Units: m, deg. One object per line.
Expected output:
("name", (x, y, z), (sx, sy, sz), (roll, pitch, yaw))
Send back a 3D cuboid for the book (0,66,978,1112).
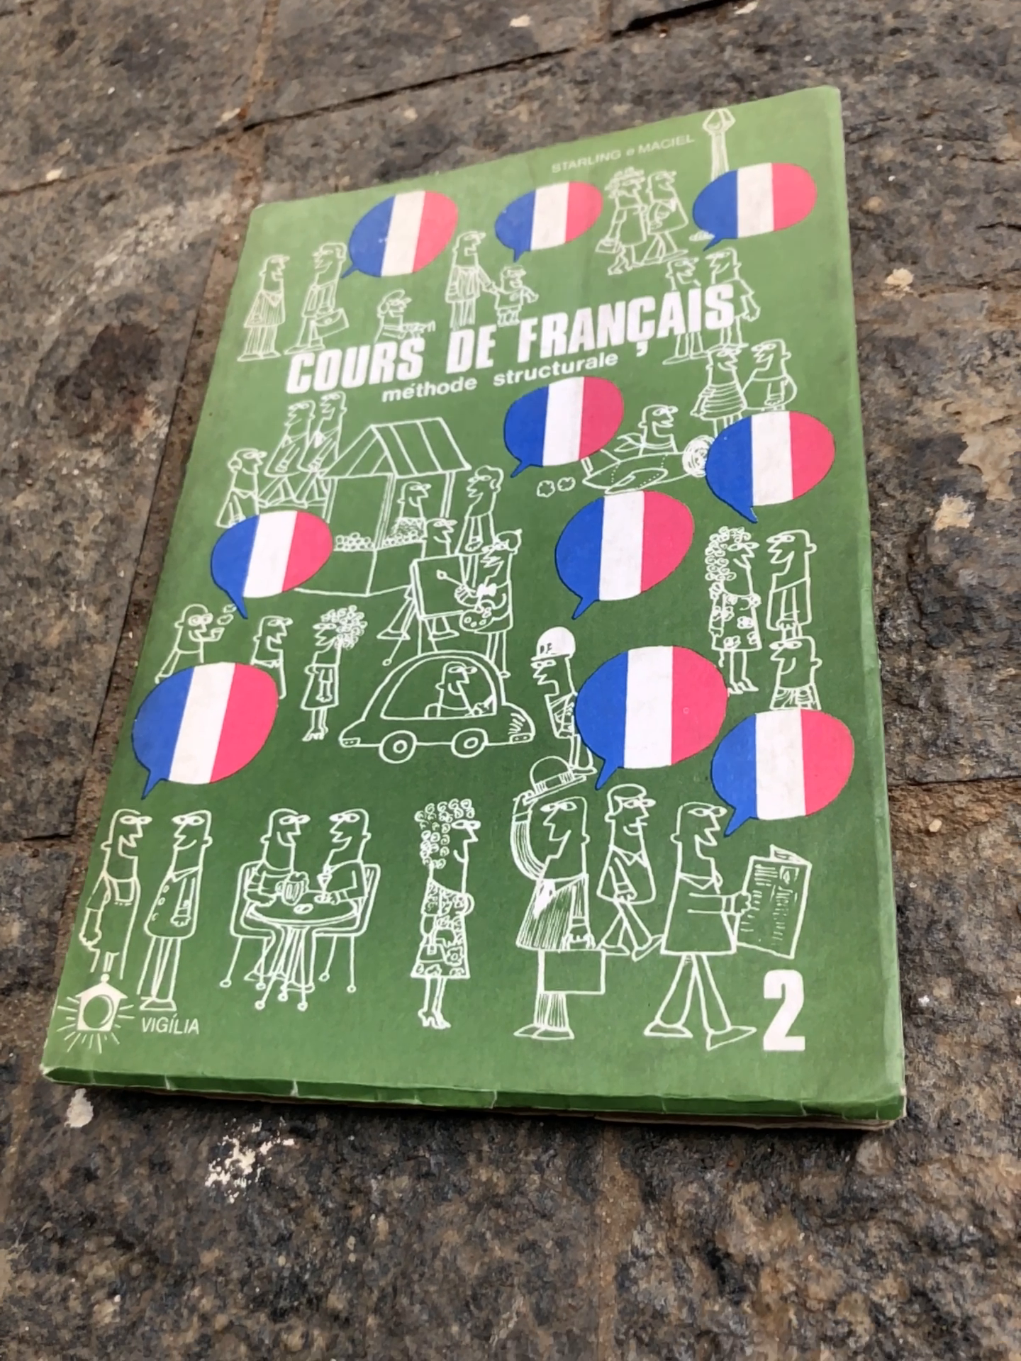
("book", (-0.007, -0.029, 0.231), (0.167, 0.013, 0.212), (-4, 62, 18))
